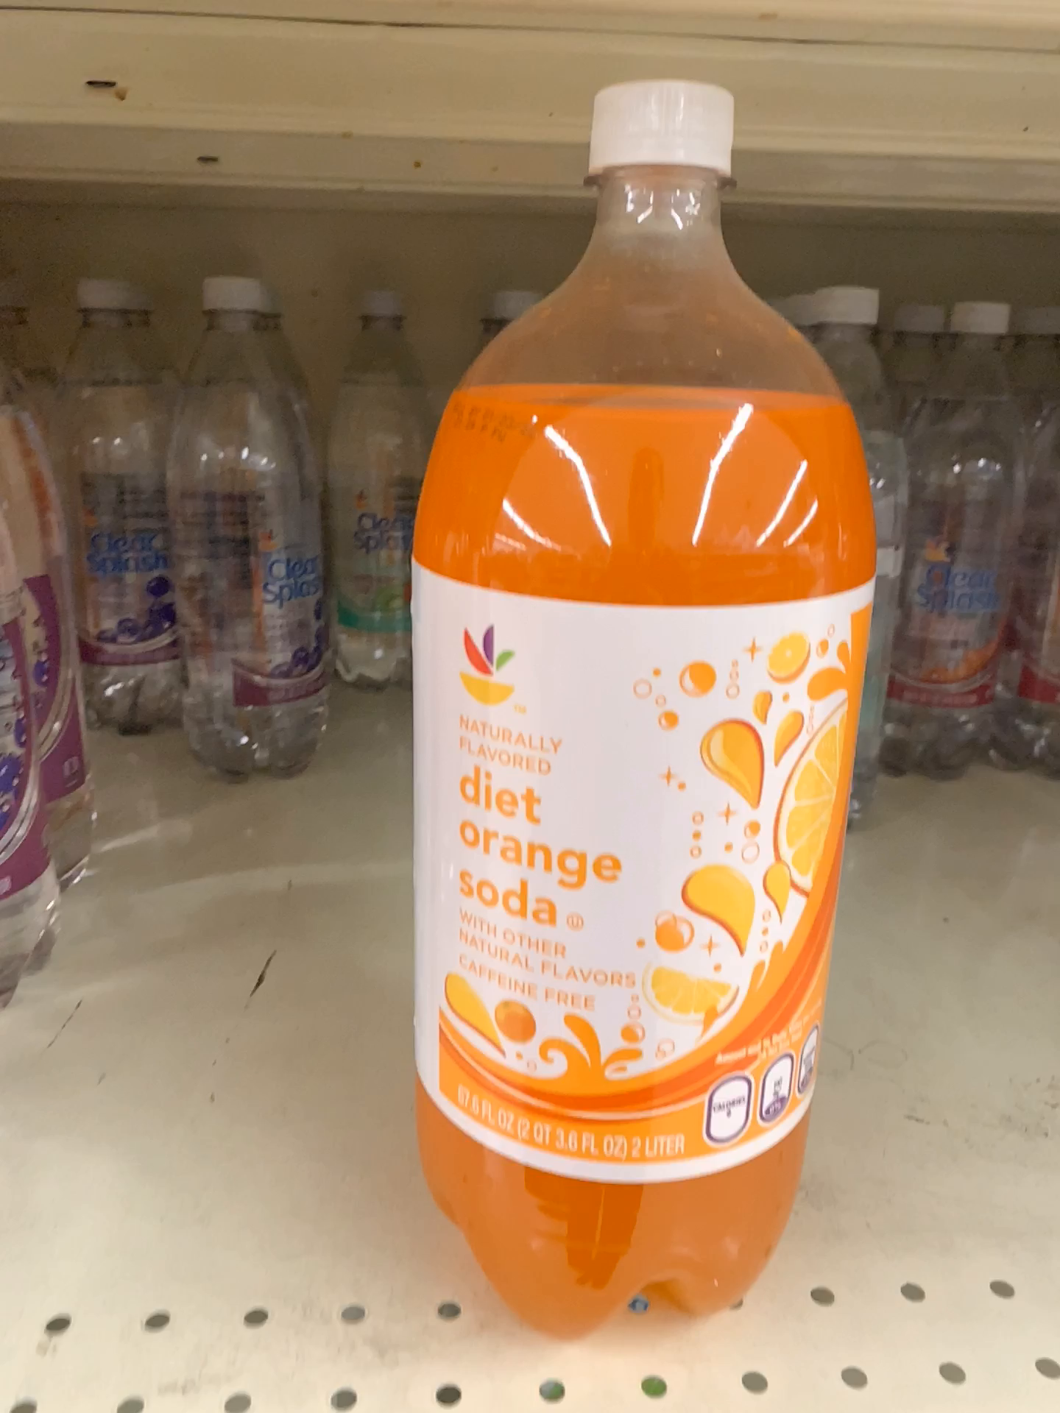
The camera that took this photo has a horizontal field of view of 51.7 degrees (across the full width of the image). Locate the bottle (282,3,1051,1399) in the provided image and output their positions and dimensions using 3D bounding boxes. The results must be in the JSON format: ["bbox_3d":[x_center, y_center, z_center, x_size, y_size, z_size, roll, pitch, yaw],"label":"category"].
[{"bbox_3d":[0.022,0.008,0.270,0.120,0.289,0.111,1,19,0],"label":"bottle"}]
